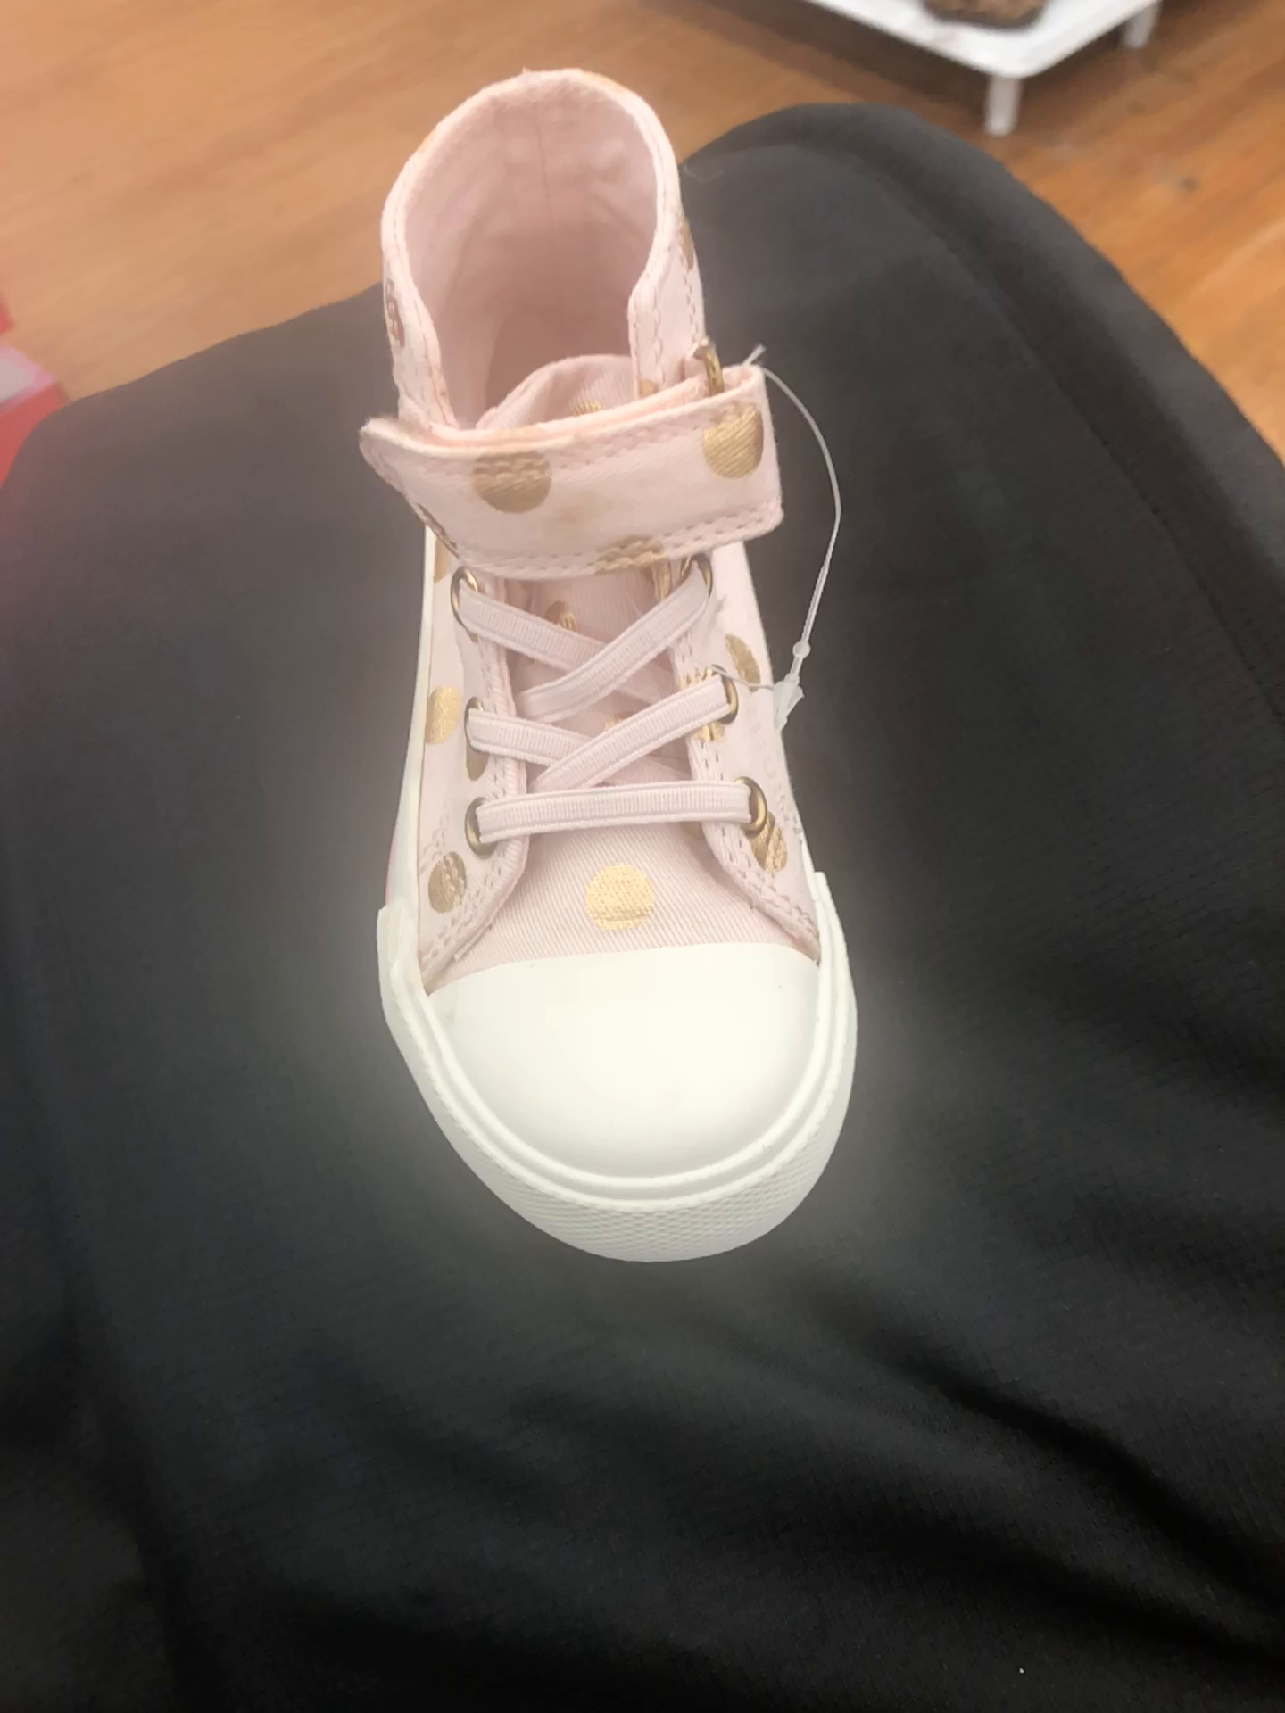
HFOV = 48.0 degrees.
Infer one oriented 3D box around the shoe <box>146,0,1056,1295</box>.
[{"bbox_3d":[-0.007,-0.039,0.217,0.080,0.100,0.170,-5,54,0],"label":"shoe"}]
